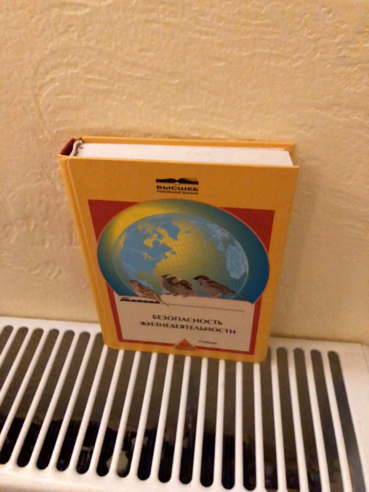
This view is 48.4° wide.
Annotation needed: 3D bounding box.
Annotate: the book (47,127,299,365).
[{"bbox_3d":[-0.002,0.012,0.324,0.150,0.202,0.041,4,43,8],"label":"book"}]
